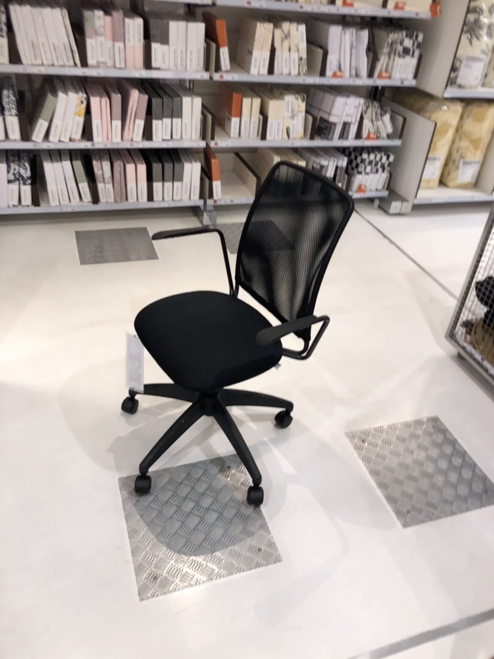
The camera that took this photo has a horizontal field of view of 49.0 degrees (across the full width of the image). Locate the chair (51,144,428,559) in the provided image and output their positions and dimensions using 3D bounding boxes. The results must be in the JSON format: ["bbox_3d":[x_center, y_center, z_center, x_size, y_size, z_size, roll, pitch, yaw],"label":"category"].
[{"bbox_3d":[-0.066,0.006,1.552,0.692,0.813,0.633,-17,41,-30],"label":"chair"}]
